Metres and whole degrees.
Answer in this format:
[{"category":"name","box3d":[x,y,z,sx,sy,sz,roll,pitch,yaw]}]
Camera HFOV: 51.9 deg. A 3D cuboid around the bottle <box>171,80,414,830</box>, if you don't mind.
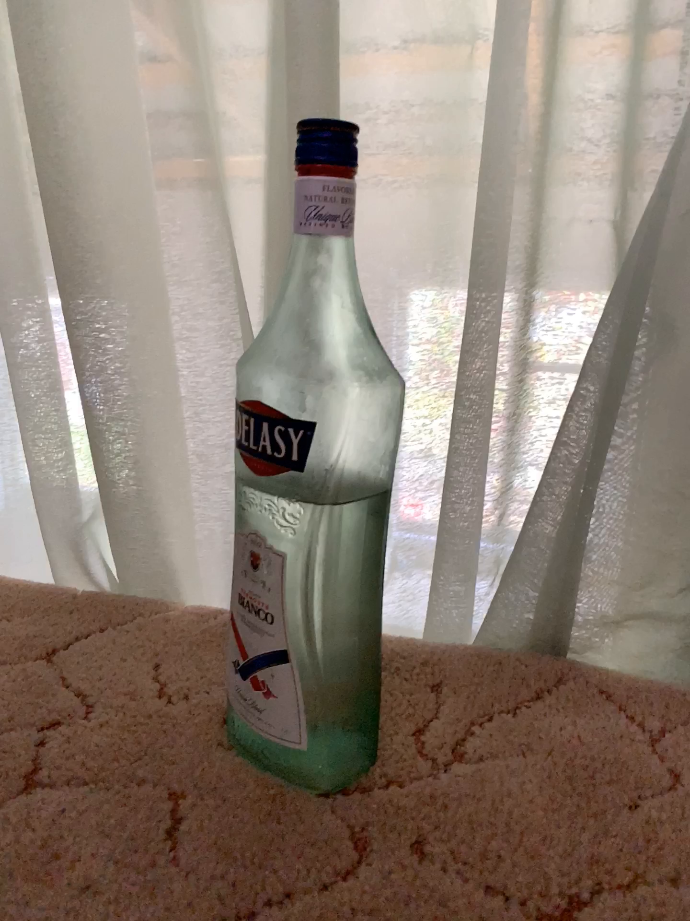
[{"category":"bottle","box3d":[-0.032,0.002,0.363,0.060,0.328,0.110,-9,17,-37]}]
